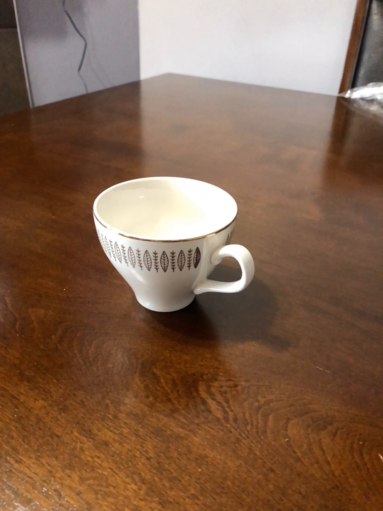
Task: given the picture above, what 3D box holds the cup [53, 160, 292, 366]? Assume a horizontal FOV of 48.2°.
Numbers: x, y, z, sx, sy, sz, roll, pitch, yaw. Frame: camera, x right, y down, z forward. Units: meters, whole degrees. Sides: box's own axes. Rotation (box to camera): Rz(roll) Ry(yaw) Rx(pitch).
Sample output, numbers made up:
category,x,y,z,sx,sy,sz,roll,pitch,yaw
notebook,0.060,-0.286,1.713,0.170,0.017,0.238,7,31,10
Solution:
category,x,y,z,sx,sy,sz,roll,pitch,yaw
cup,-0.009,-0.005,0.256,0.100,0.060,0.090,22,37,27
